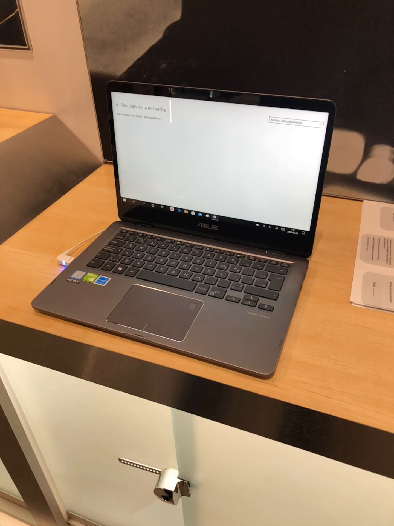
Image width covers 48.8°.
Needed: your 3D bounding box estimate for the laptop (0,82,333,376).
[{"bbox_3d":[-0.027,-0.066,0.548,0.320,0.224,0.240,12,39,18],"label":"laptop"}]
